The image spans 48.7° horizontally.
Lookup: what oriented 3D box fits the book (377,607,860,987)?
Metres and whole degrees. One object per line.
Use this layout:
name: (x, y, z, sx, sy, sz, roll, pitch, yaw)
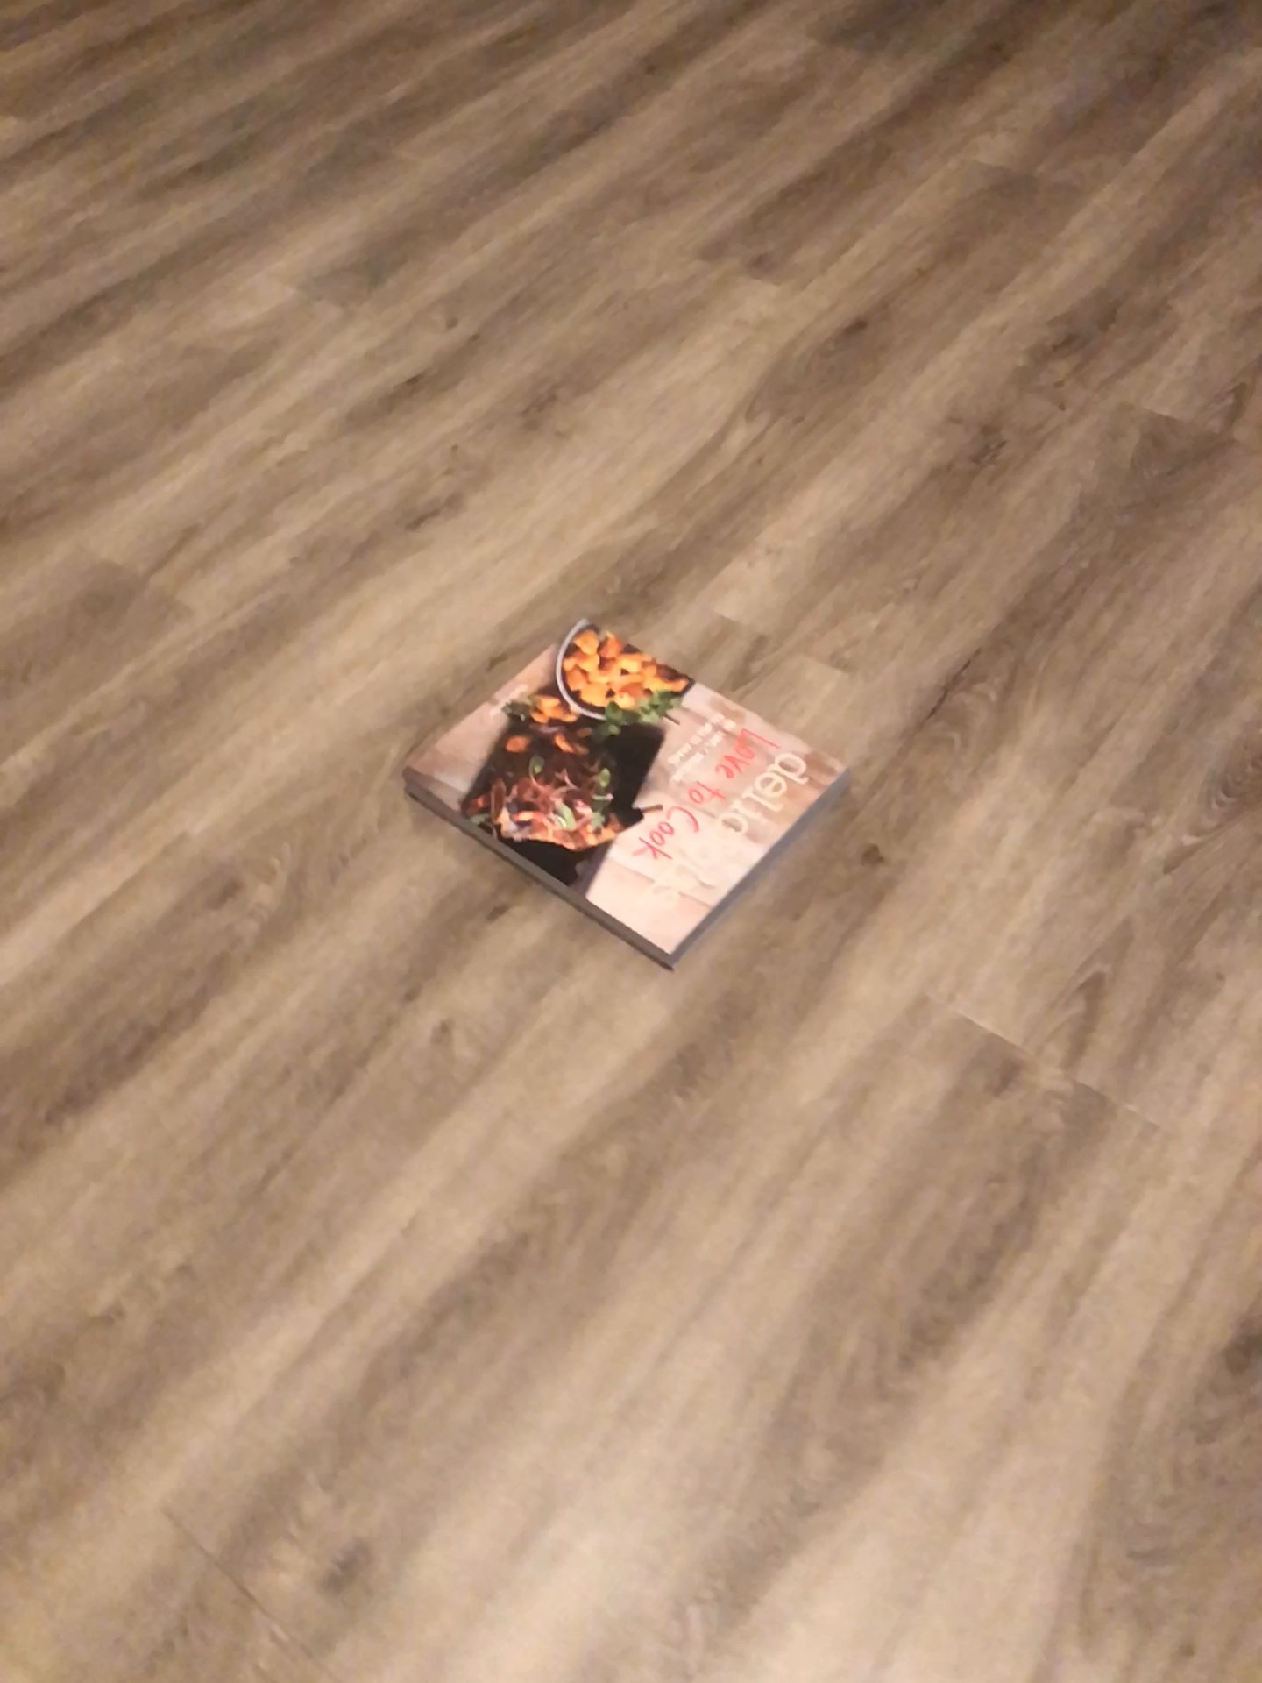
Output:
book: (-0.011, -0.048, 1.060, 0.290, 0.030, 0.222, 32, 60, 25)
